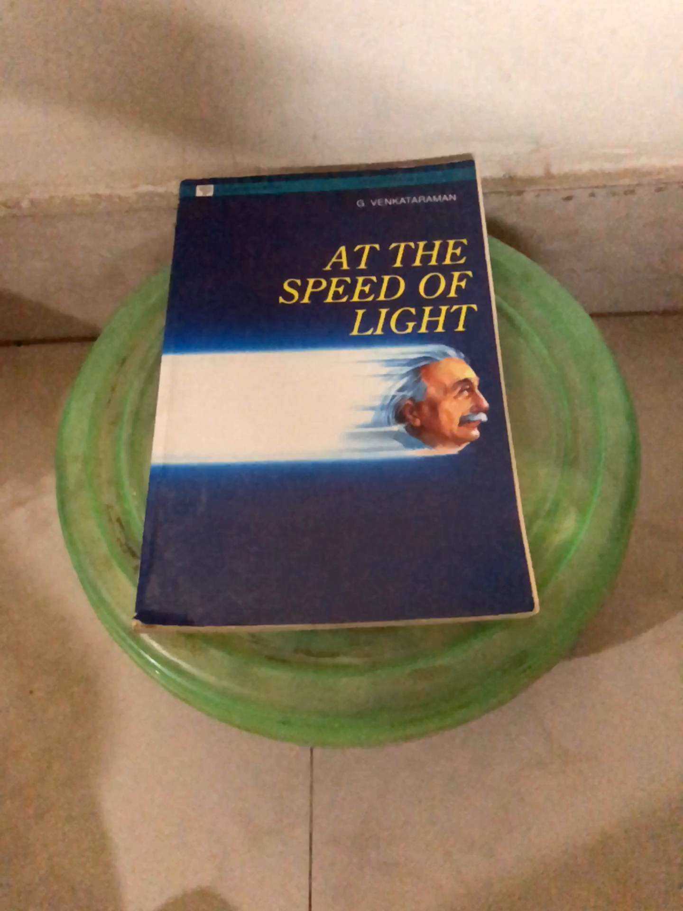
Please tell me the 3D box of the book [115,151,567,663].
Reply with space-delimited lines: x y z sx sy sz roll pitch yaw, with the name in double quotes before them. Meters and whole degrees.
"book" -0.003 -0.035 0.315 0.150 0.020 0.231 -2 61 2
